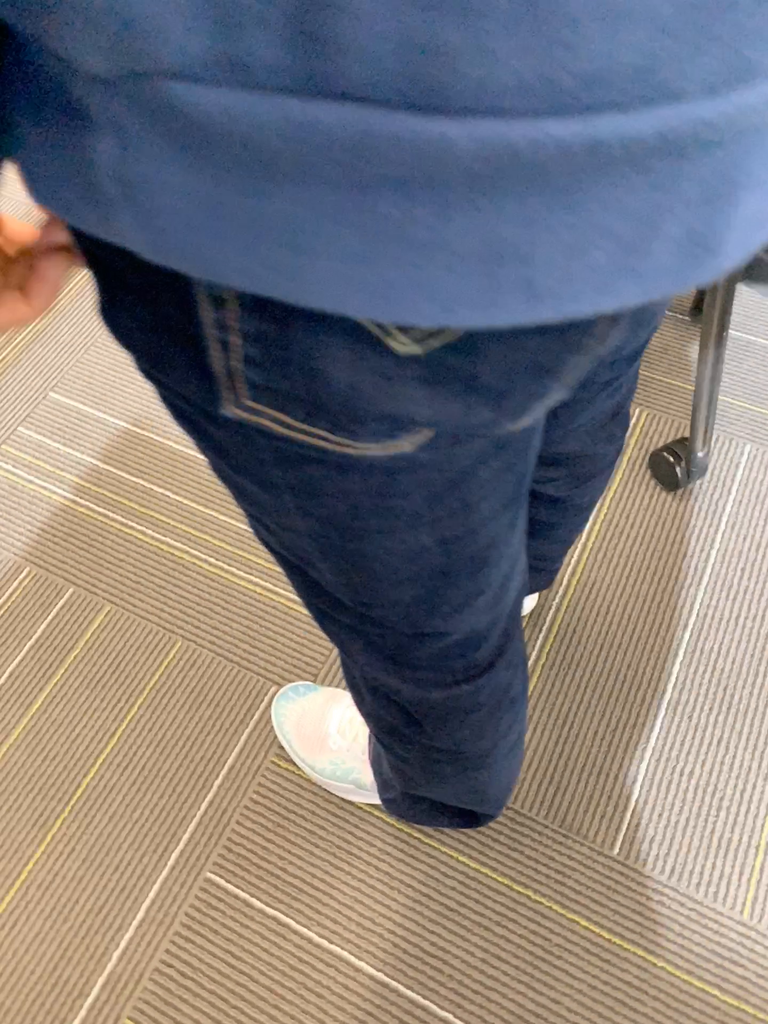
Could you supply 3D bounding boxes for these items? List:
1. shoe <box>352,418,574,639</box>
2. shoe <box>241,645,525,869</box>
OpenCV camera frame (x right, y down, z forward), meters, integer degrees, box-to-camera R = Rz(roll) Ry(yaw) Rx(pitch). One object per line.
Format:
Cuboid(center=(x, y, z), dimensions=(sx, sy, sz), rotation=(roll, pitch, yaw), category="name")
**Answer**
Cuboid(center=(0.097, 0.016, 1.036), dimensions=(0.117, 0.088, 0.284), rotation=(-37, 63, -18), category="shoe")
Cuboid(center=(-0.001, 0.276, 0.897), dimensions=(0.290, 0.078, 0.123), rotation=(21, 61, 16), category="shoe")
